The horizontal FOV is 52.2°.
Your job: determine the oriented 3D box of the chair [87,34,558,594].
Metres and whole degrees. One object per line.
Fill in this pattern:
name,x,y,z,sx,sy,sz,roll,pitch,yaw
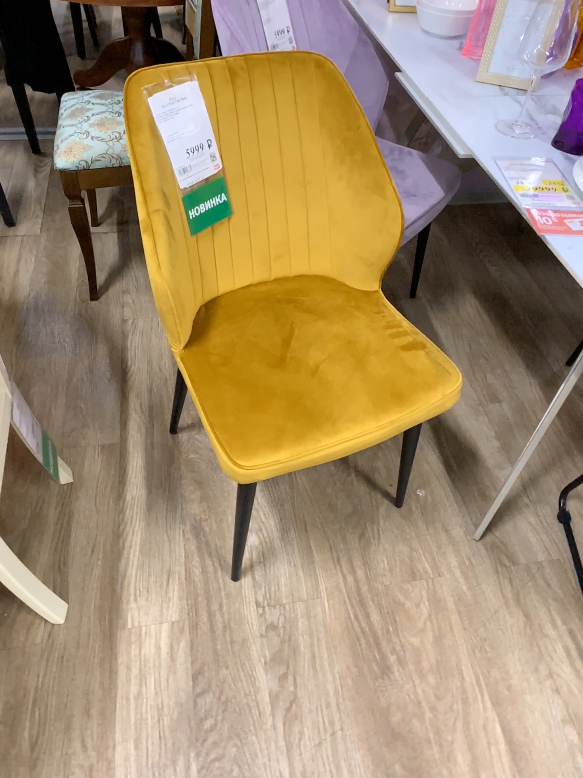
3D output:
chair,-0.012,-0.109,1.180,0.501,0.885,0.502,-18,52,-22
